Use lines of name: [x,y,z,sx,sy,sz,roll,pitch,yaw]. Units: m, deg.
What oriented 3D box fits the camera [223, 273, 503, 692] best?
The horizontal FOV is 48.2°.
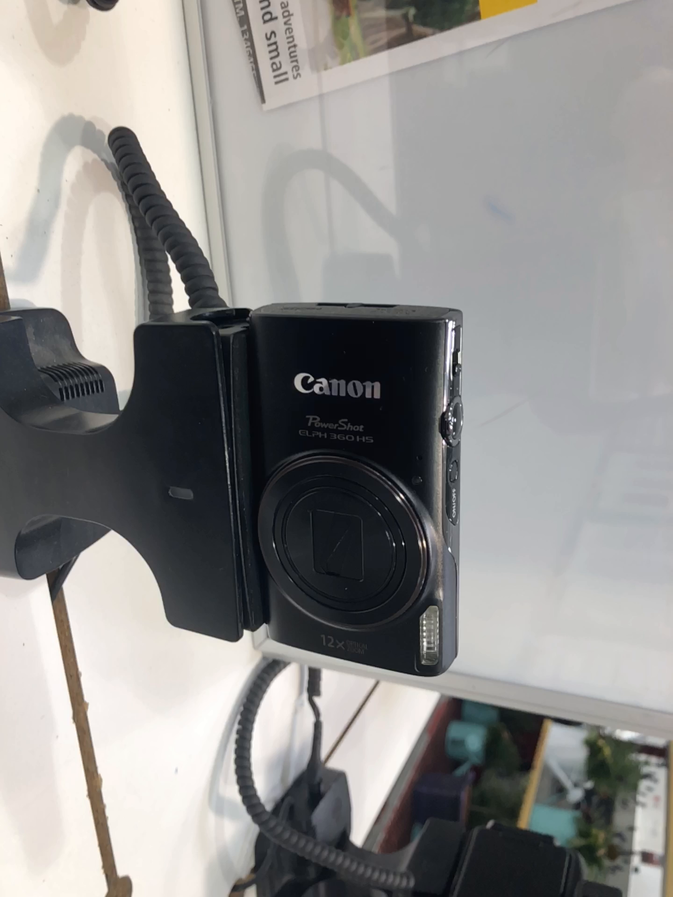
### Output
camera: [0.009,0.007,0.218,0.030,0.070,0.110,-30,121,-62]
